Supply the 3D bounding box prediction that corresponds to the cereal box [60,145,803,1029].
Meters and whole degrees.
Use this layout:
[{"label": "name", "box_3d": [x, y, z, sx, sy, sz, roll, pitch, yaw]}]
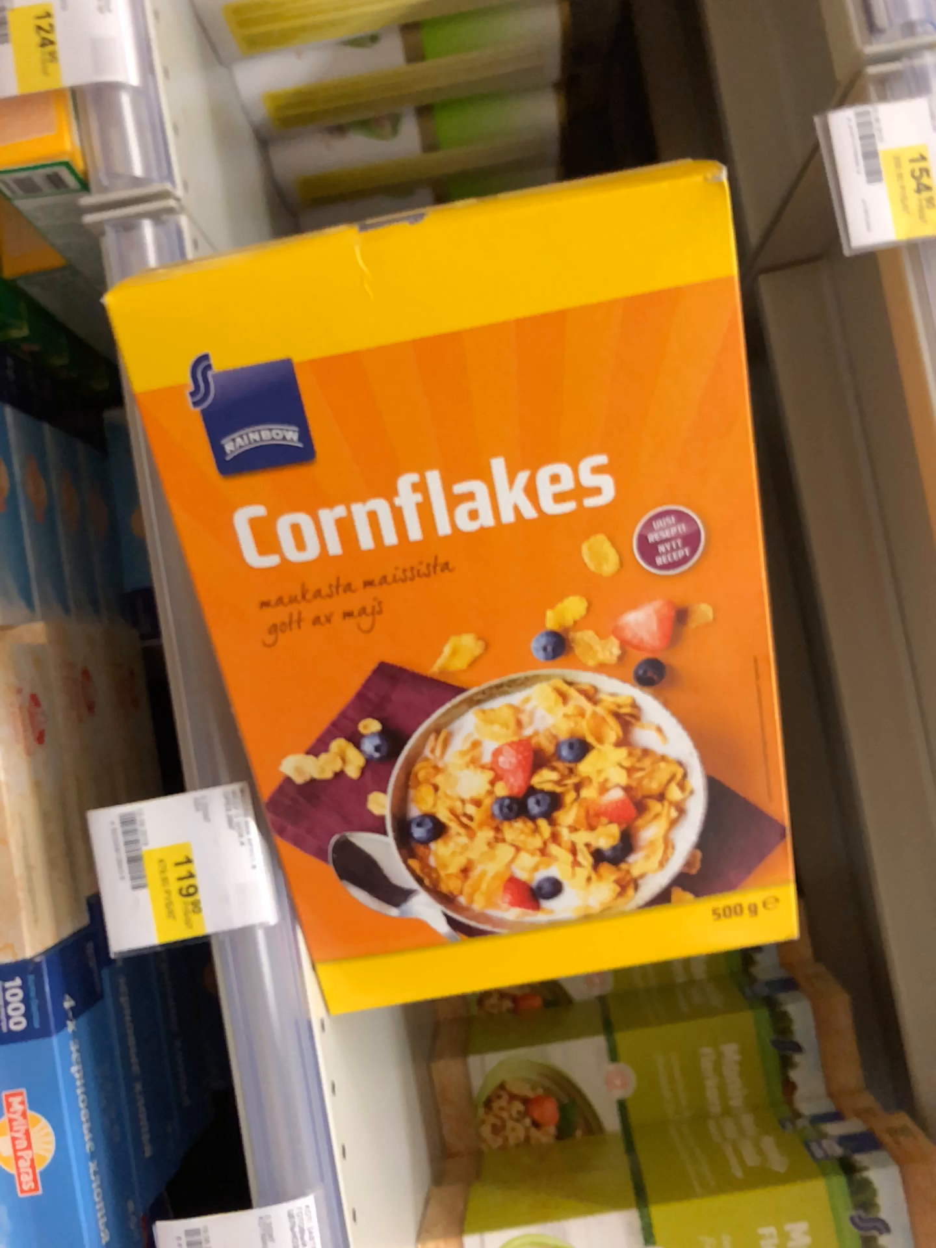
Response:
[{"label": "cereal box", "box_3d": [0.005, -0.011, 0.412, 0.120, 0.200, 0.290, -93, 173, -67]}]
